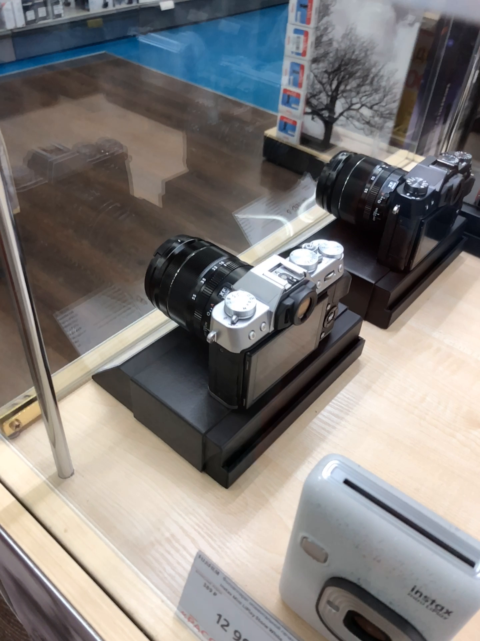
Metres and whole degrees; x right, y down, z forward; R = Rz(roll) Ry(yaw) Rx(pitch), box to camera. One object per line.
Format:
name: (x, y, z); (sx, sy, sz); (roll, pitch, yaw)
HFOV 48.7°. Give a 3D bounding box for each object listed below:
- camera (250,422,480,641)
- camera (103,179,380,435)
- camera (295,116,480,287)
camera: (0.057, 0.117, 0.242); (0.094, 0.110, 0.039); (30, 48, 26)
camera: (-0.001, -0.019, 0.369); (0.130, 0.080, 0.124); (34, 49, 29)
camera: (0.146, -0.119, 0.502); (0.130, 0.080, 0.124); (34, 49, 29)
